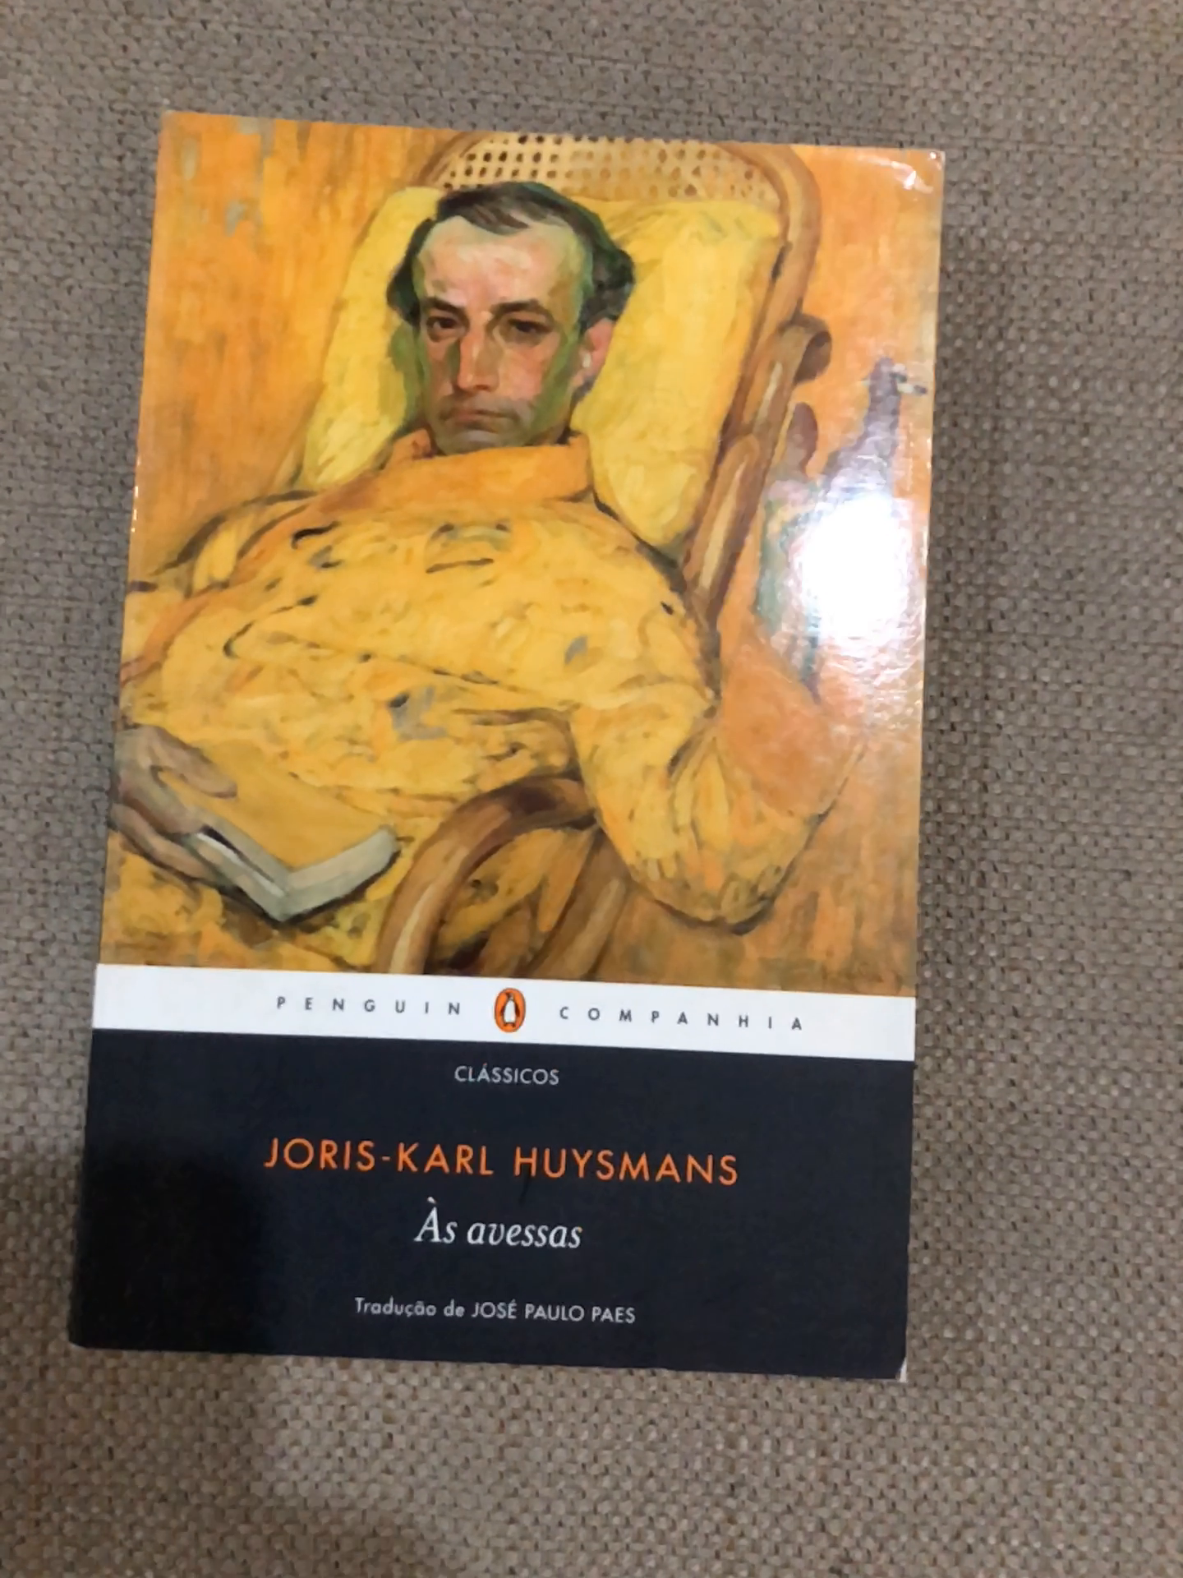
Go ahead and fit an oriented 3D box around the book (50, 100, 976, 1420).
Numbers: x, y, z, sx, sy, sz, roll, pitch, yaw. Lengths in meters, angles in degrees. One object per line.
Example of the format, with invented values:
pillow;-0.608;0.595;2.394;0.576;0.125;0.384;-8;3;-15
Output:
book;-0.010;-0.007;0.214;0.130;0.023;0.195;3;86;0
